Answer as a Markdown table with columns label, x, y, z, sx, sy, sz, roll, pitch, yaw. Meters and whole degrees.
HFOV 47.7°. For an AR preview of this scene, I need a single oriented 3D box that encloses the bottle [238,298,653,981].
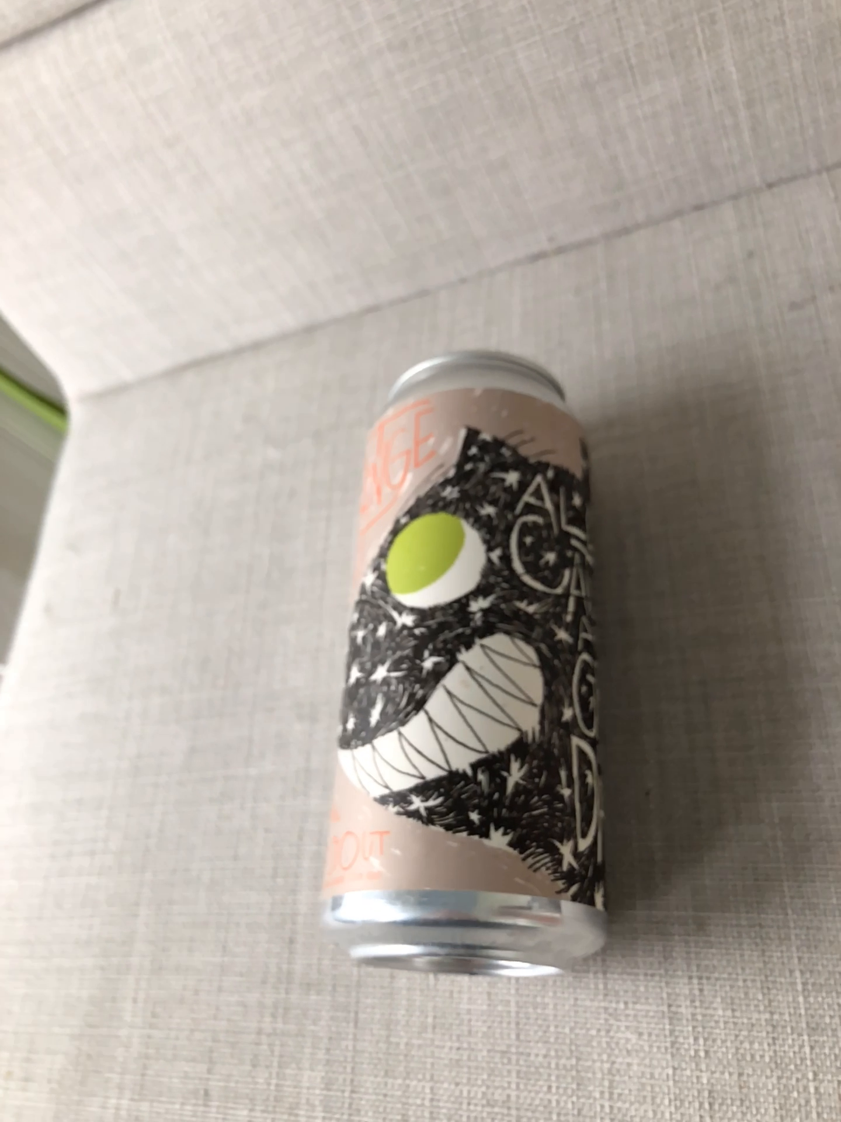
| label | x | y | z | sx | sy | sz | roll | pitch | yaw |
| --- | --- | --- | --- | --- | --- | --- | --- | --- | --- |
| bottle | 0.010 | 0.023 | 0.242 | 0.070 | 0.070 | 0.151 | -10 | 63 | 22 |
